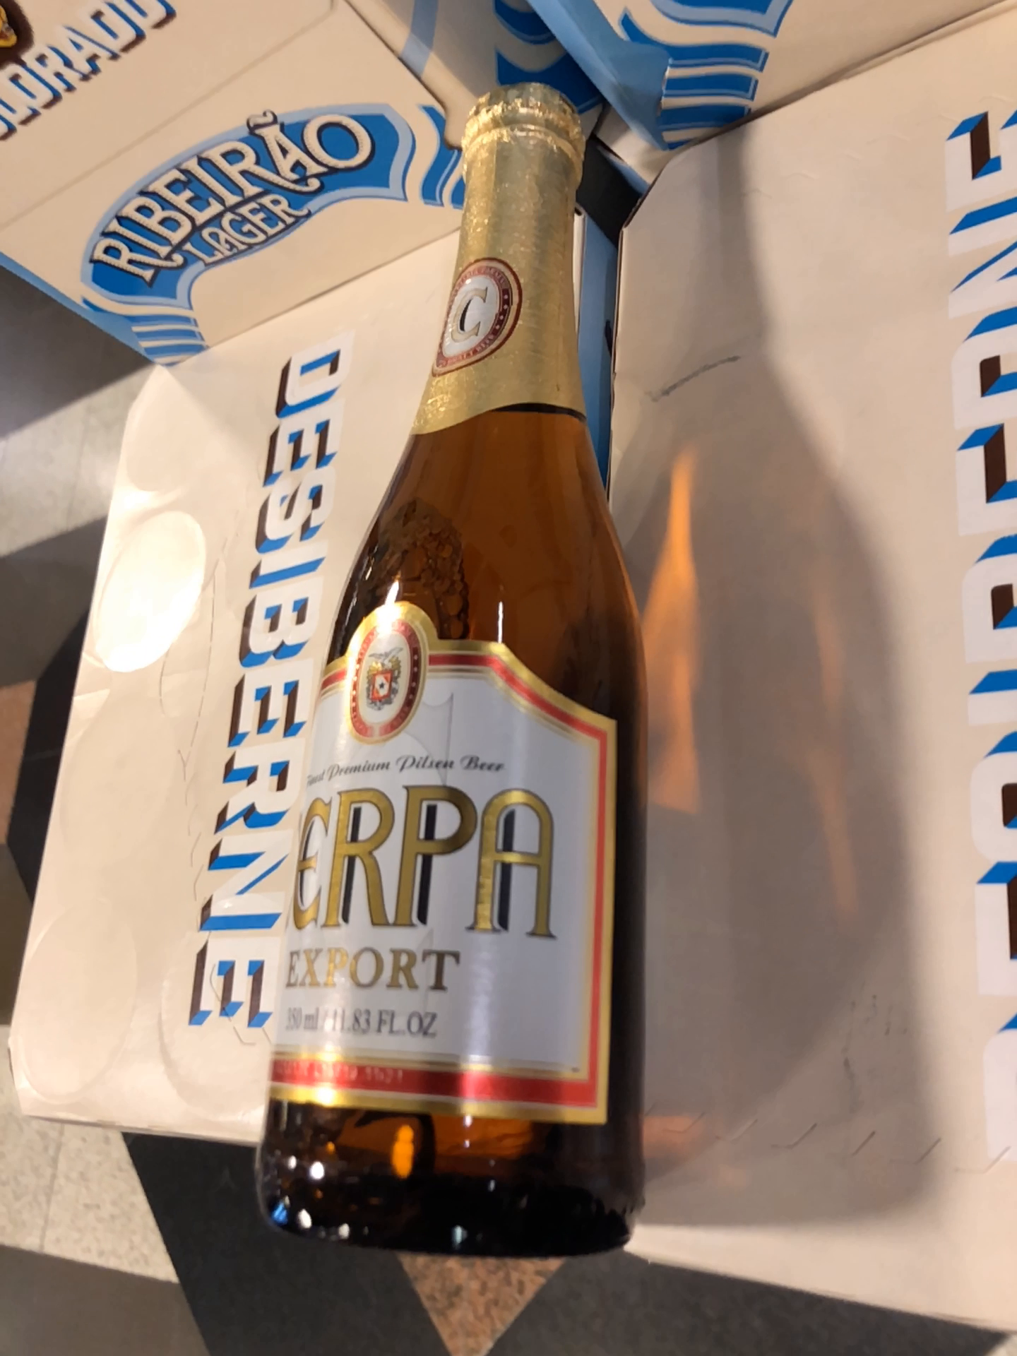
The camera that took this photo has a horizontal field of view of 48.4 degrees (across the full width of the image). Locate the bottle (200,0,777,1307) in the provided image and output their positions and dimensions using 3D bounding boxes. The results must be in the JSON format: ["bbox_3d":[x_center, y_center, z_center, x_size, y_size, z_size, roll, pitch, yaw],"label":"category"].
[{"bbox_3d":[0.001,-0.024,0.219,0.070,0.060,0.240,-12,67,35],"label":"bottle"}]
